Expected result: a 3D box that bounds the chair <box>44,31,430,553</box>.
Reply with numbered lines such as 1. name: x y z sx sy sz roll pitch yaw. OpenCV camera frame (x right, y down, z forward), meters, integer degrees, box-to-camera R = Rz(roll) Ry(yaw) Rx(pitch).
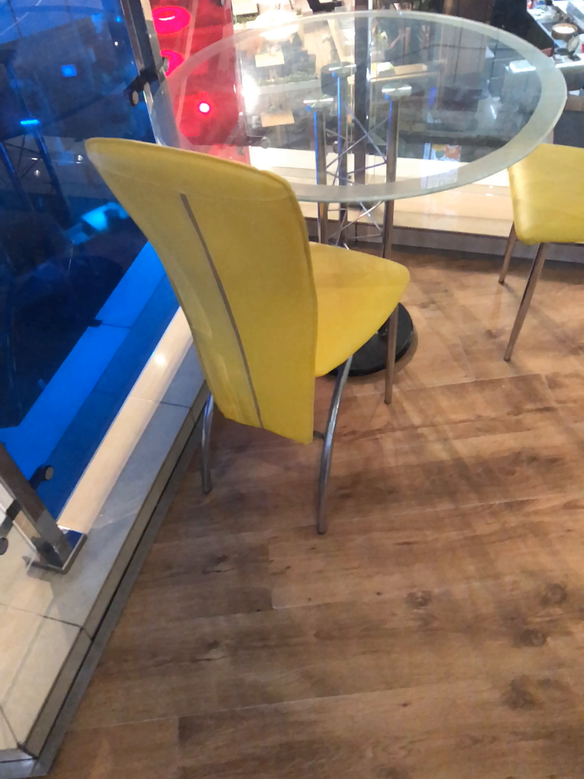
1. chair: -0.030 -0.155 1.335 0.430 0.897 0.491 16 52 19
